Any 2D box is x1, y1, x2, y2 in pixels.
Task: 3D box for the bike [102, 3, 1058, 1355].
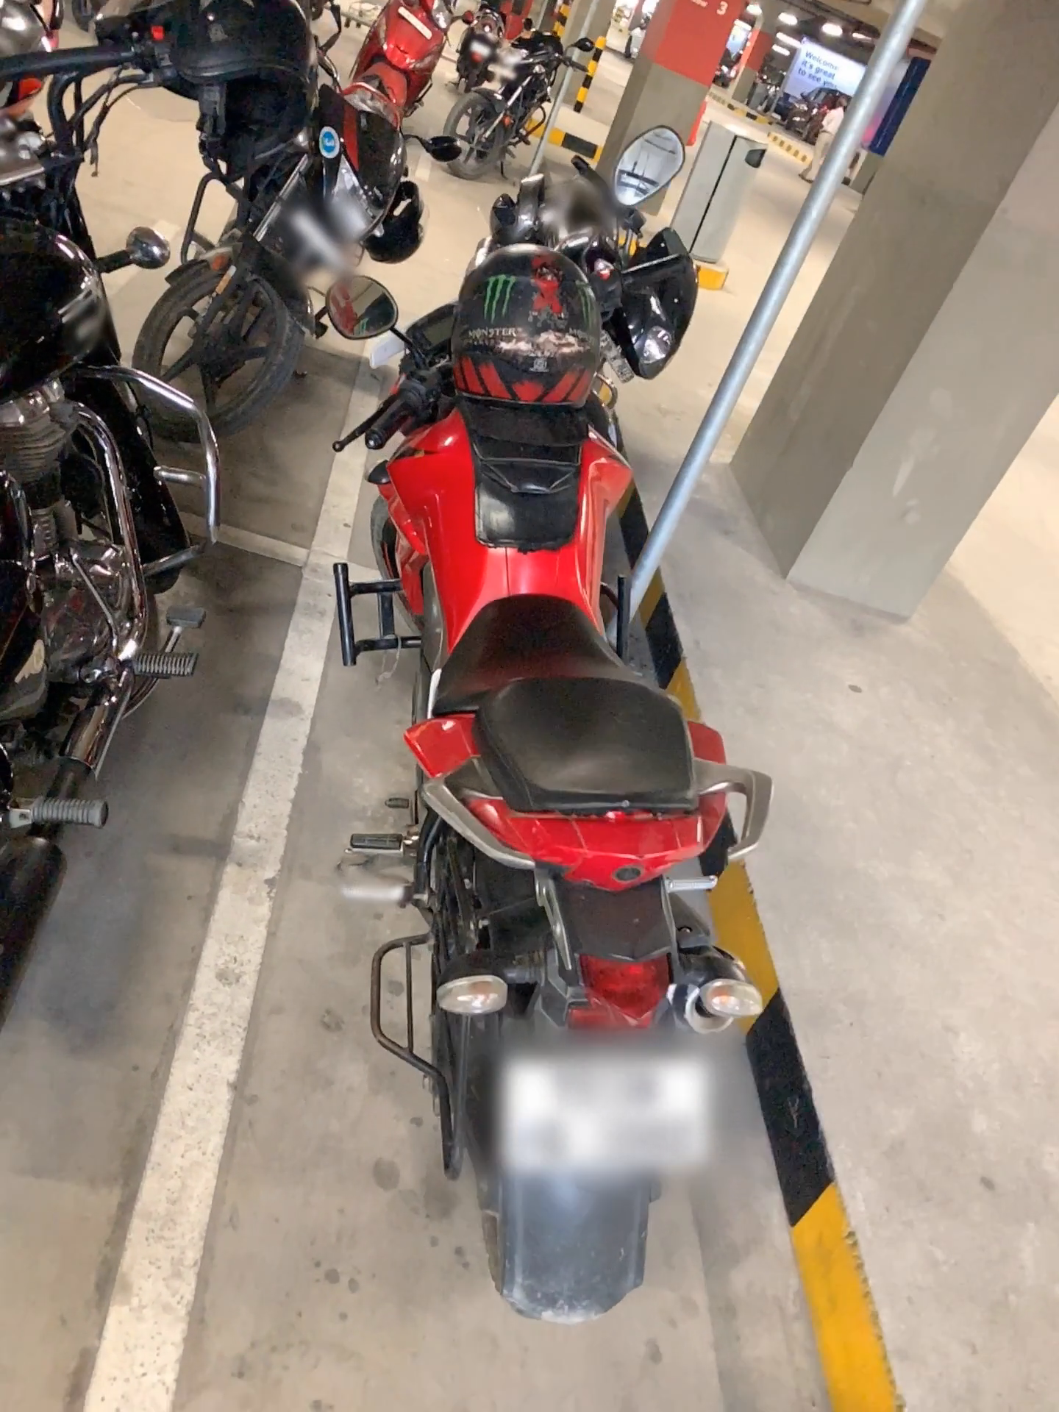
[{"bbox_3d":[-0.207,-0.166,1.670,0.677,1.121,1.689,8,37,-24],"label":"bike"}]
